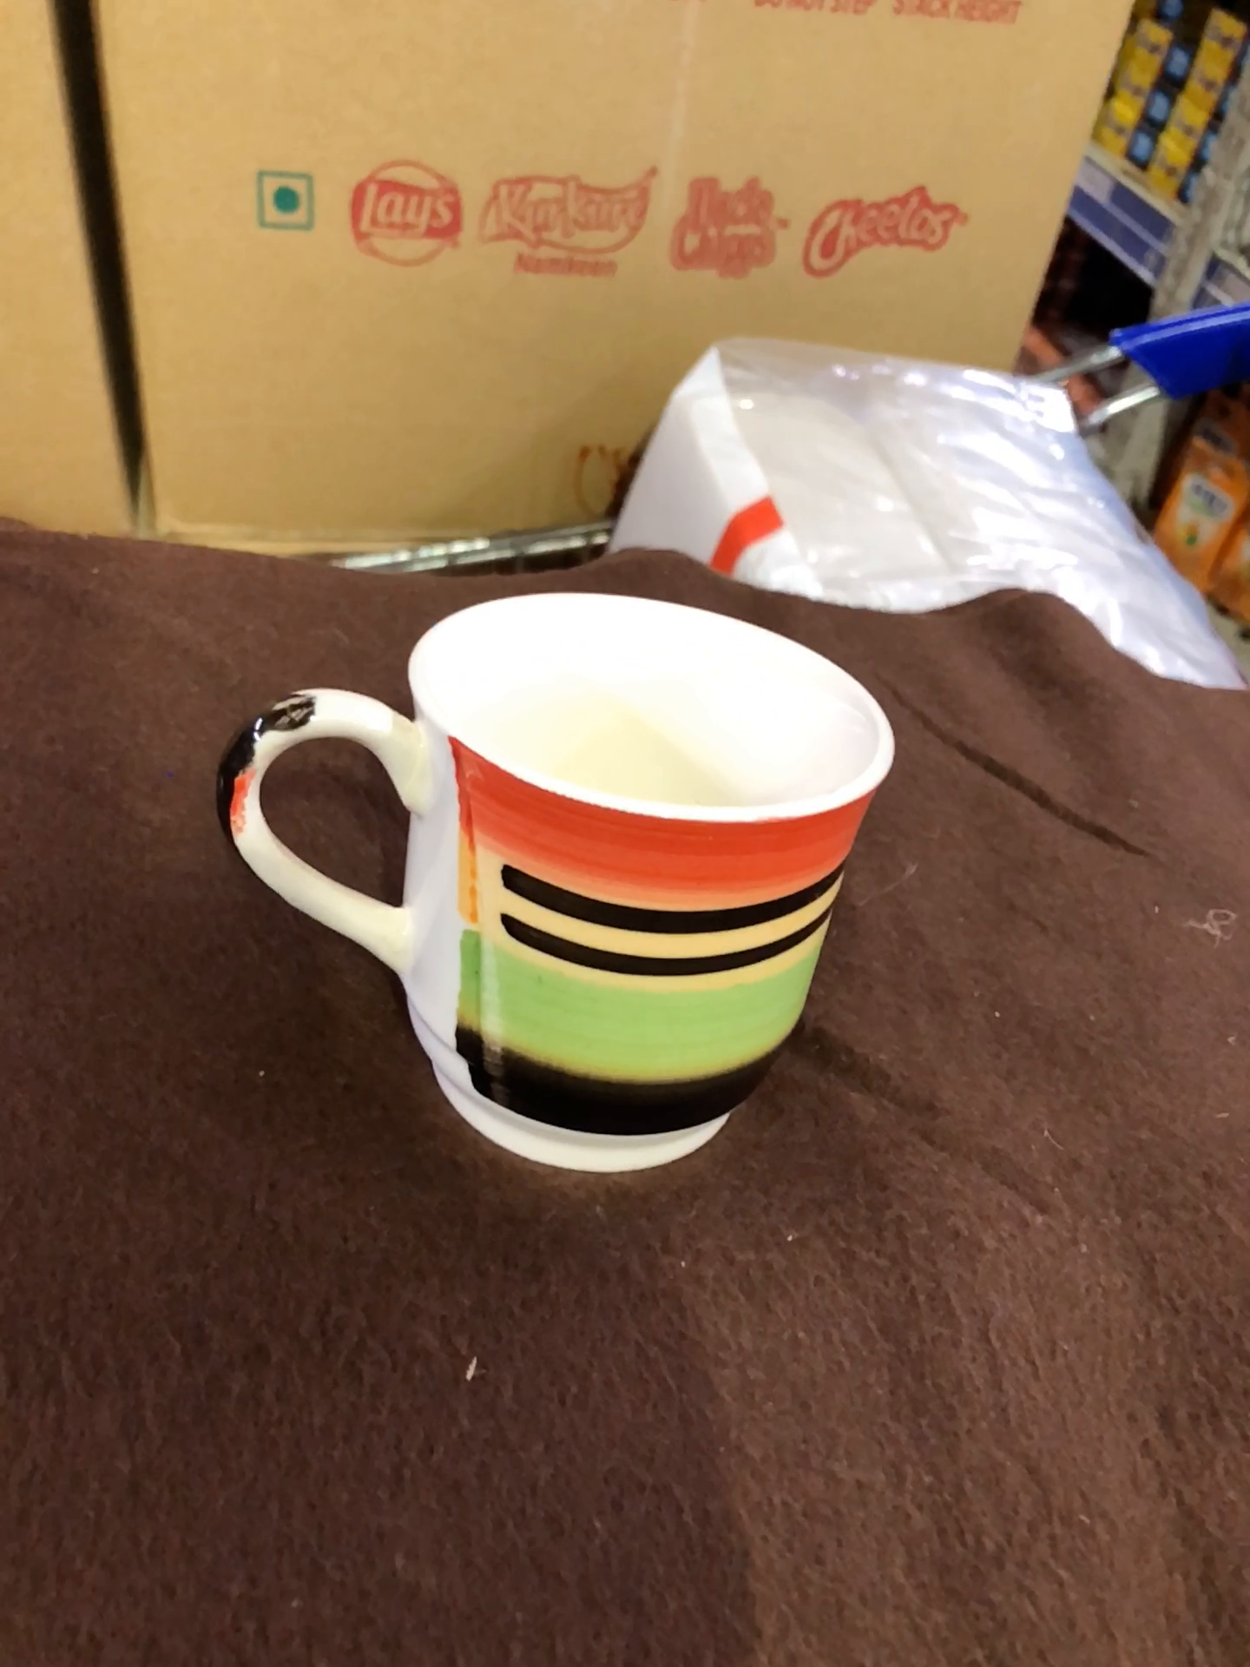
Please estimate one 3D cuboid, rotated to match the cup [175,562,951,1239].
[{"bbox_3d":[-0.013,0.007,0.209,0.090,0.070,0.070,0,32,-9],"label":"cup"}]
